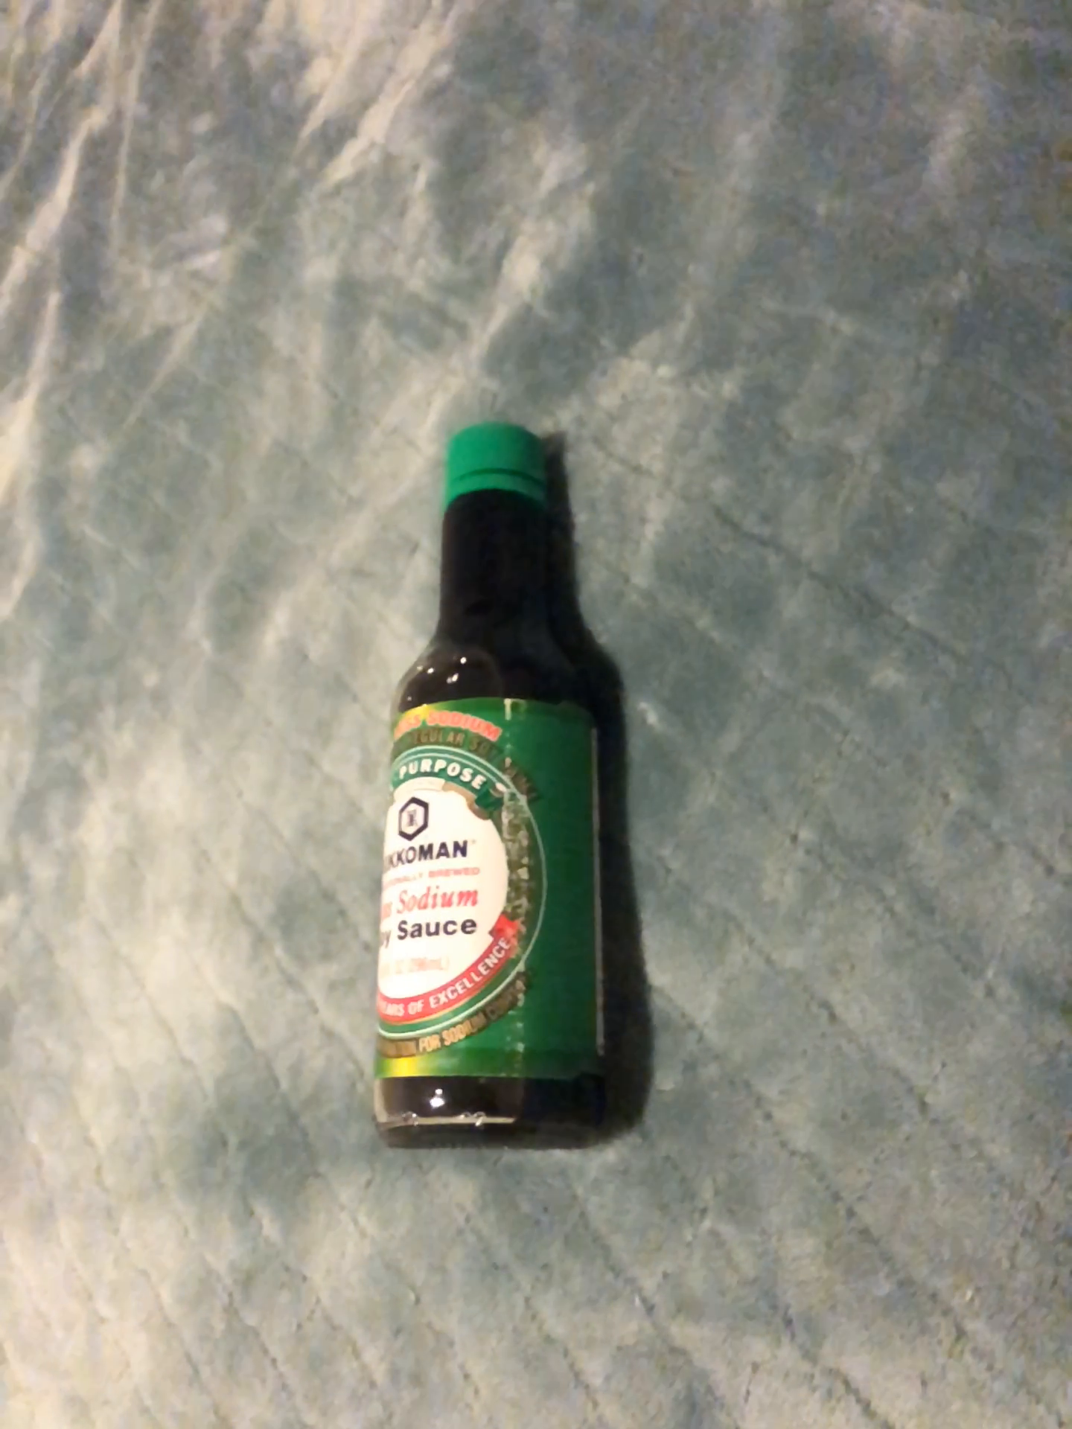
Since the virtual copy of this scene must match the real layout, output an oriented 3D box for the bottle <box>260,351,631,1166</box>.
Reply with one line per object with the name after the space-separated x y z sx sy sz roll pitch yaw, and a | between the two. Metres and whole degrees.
-0.023 0.014 0.335 0.070 0.060 0.210 -17 63 36 | bottle
